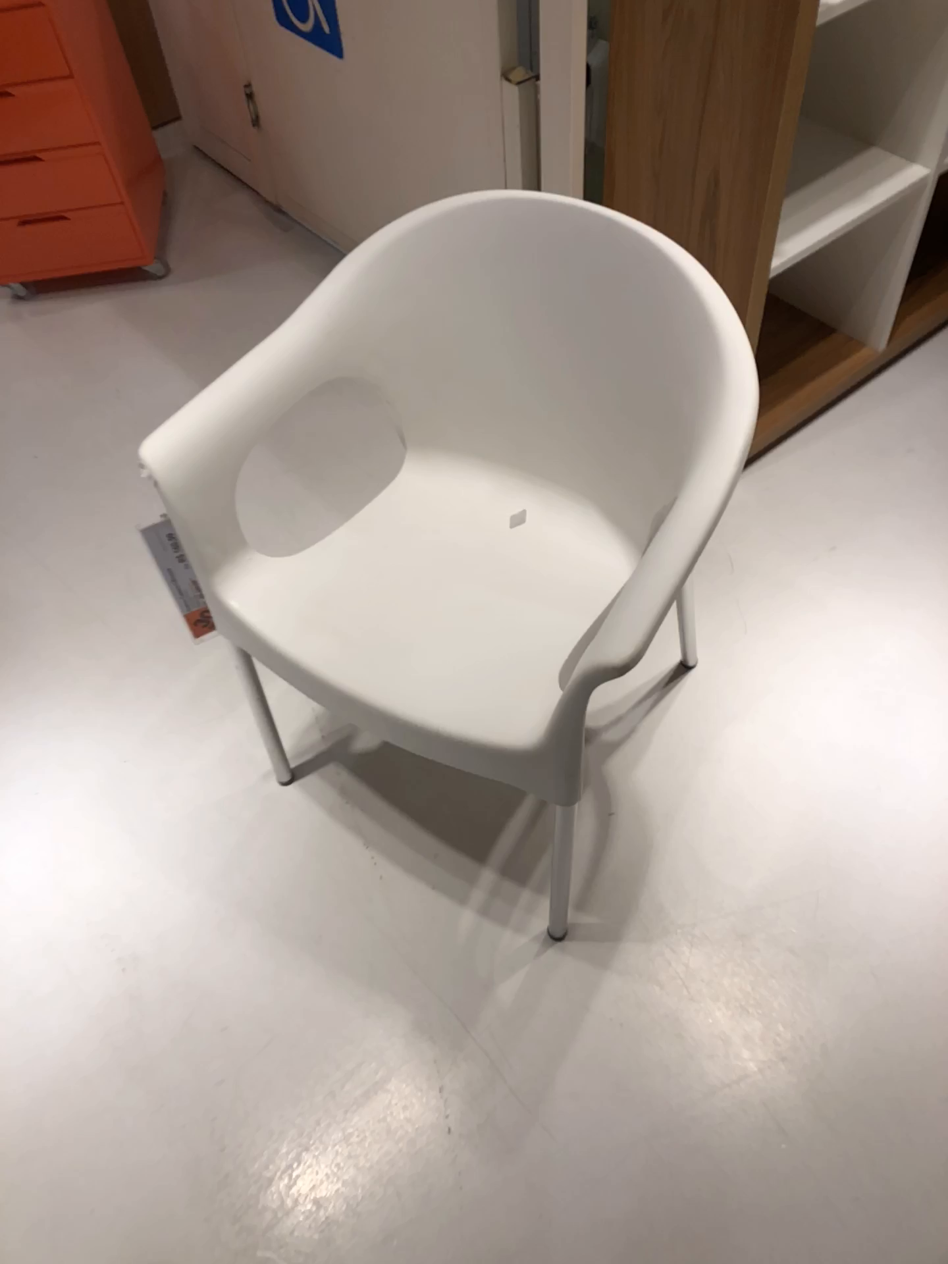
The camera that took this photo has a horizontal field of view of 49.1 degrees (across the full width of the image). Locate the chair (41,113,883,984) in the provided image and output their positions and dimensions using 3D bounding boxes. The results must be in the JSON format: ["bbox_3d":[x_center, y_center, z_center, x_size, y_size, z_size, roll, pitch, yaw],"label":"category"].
[{"bbox_3d":[0.024,-0.097,1.332,0.612,0.735,0.612,26,58,23],"label":"chair"}]
